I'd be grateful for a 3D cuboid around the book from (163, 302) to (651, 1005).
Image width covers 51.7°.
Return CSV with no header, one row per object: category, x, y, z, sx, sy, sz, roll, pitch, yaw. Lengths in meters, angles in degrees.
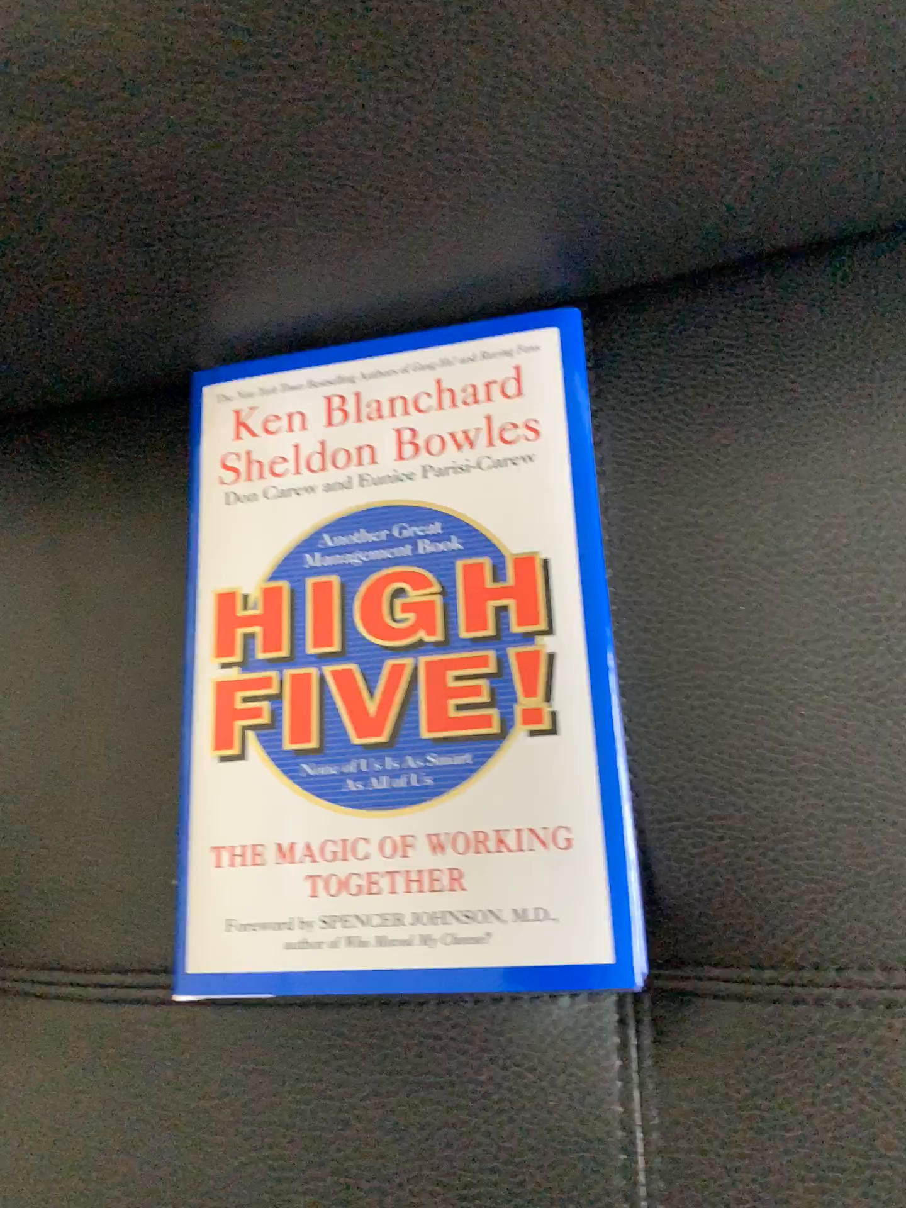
book,-0.022,0.014,0.317,0.150,0.023,0.220,-6,75,12
